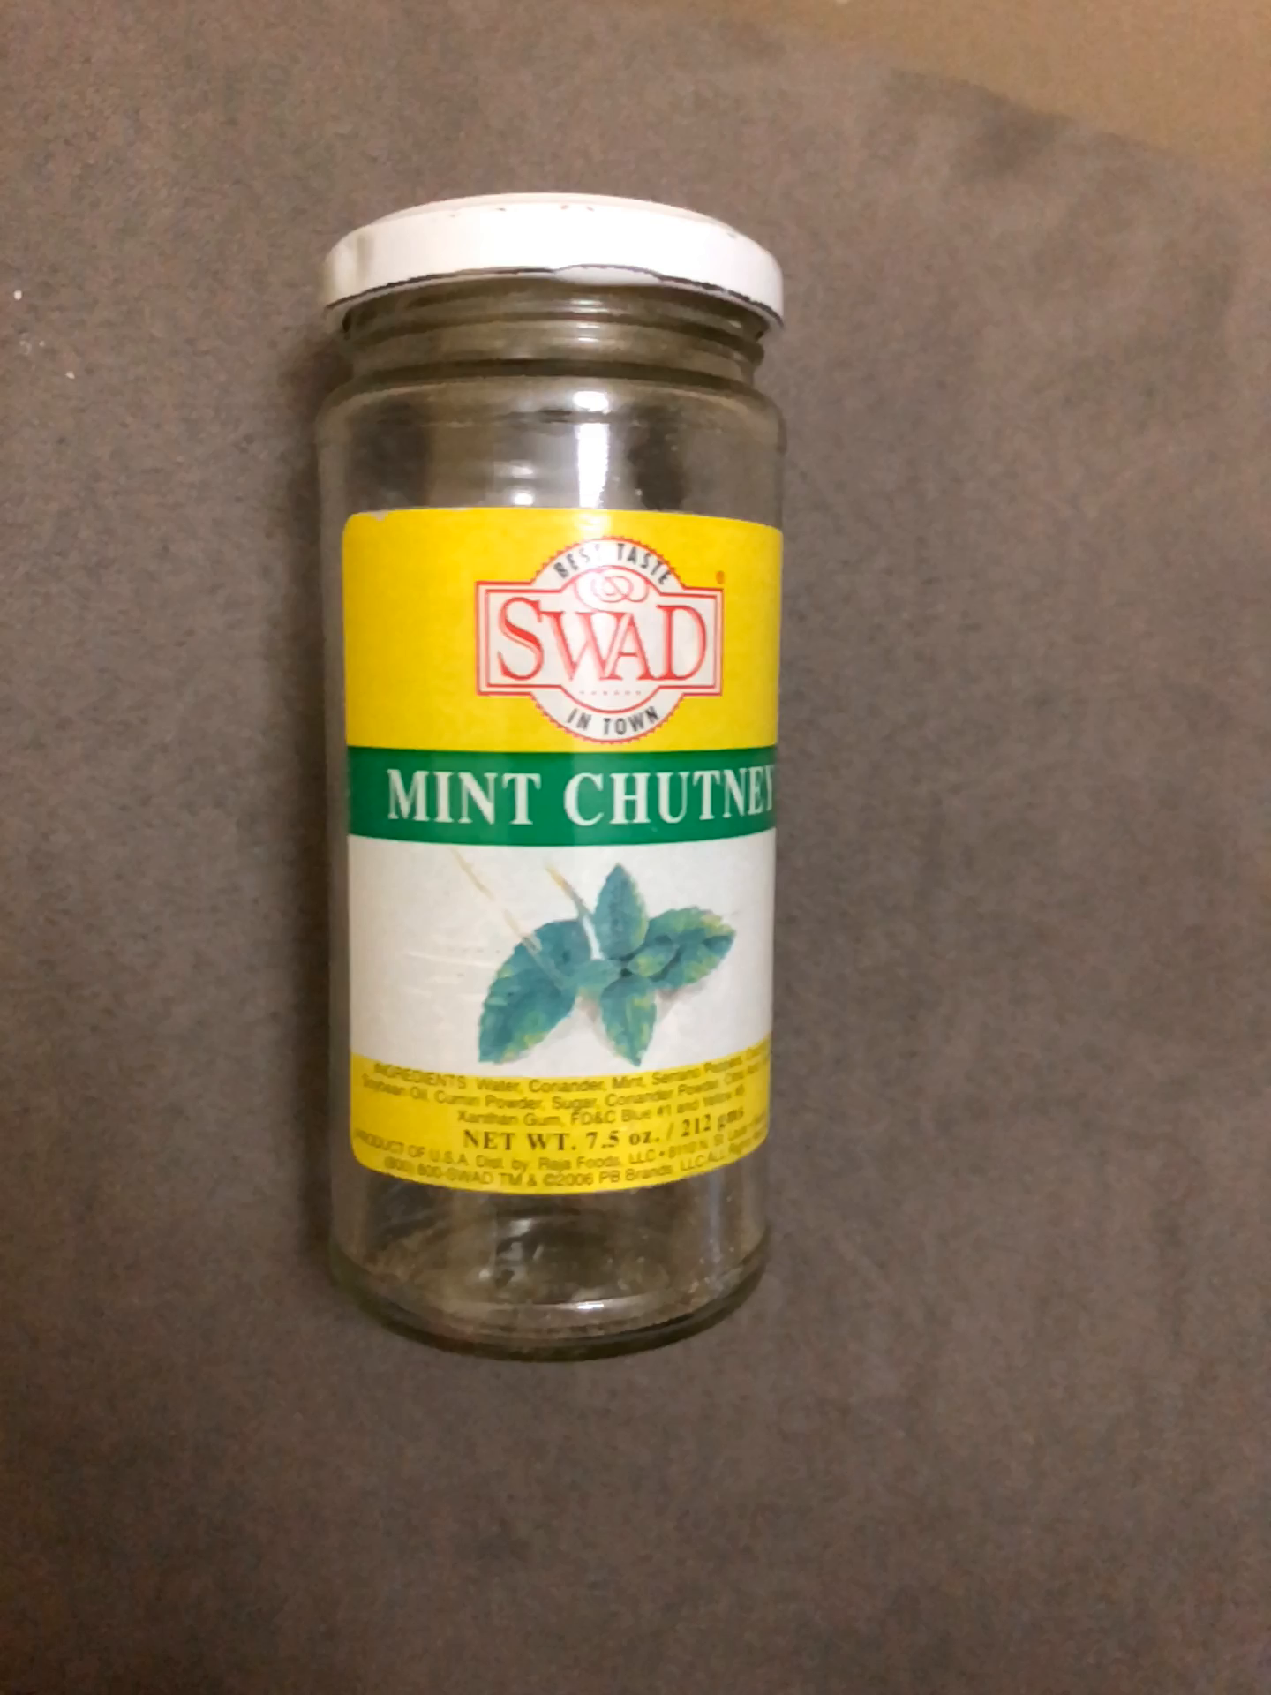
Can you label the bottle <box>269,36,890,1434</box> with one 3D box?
[{"bbox_3d":[-0.010,-0.011,0.175,0.060,0.059,0.137,-1,97,-10],"label":"bottle"}]
